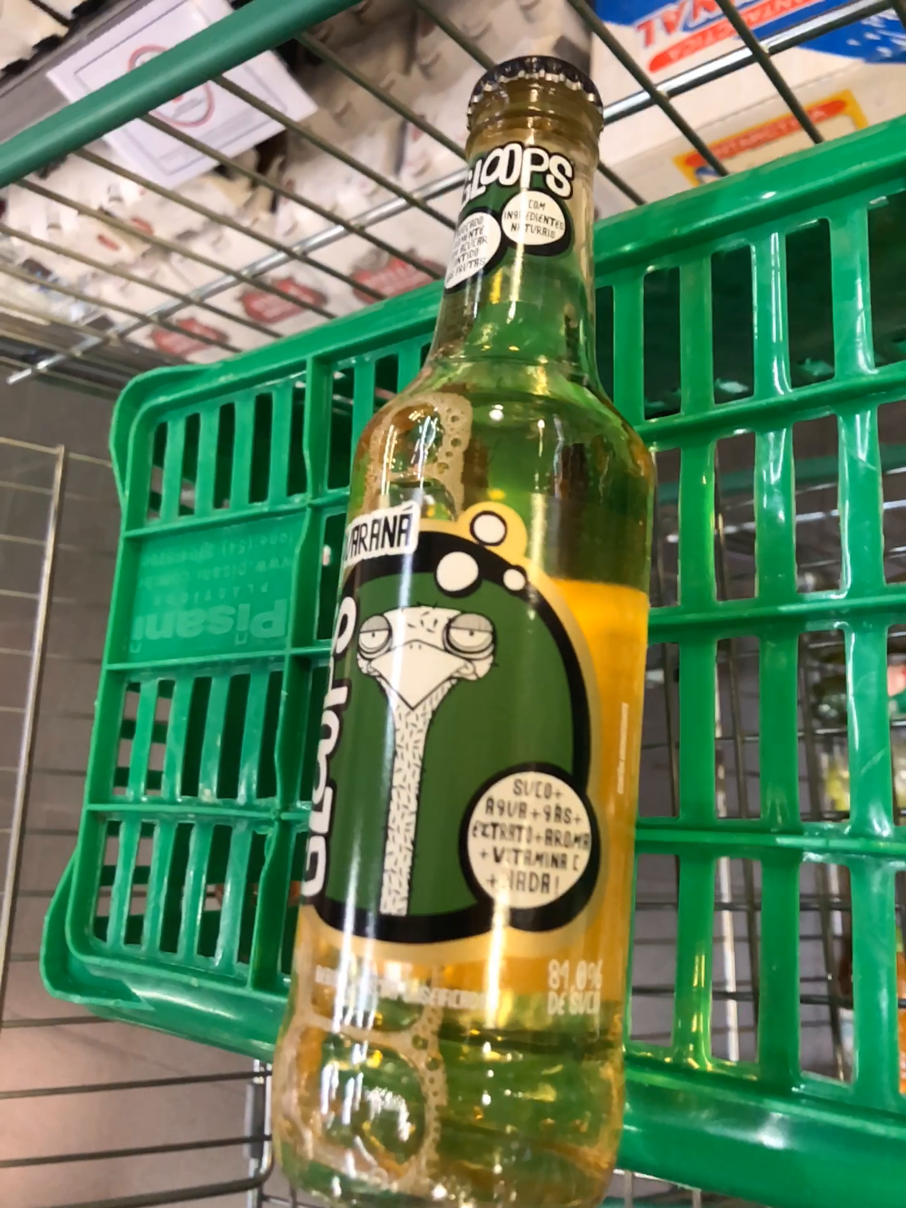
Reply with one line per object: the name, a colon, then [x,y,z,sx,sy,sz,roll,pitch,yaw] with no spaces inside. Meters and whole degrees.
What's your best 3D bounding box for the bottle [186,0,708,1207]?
bottle: [0.005,-0.012,0.185,0.060,0.050,0.220,-5,74,38]
